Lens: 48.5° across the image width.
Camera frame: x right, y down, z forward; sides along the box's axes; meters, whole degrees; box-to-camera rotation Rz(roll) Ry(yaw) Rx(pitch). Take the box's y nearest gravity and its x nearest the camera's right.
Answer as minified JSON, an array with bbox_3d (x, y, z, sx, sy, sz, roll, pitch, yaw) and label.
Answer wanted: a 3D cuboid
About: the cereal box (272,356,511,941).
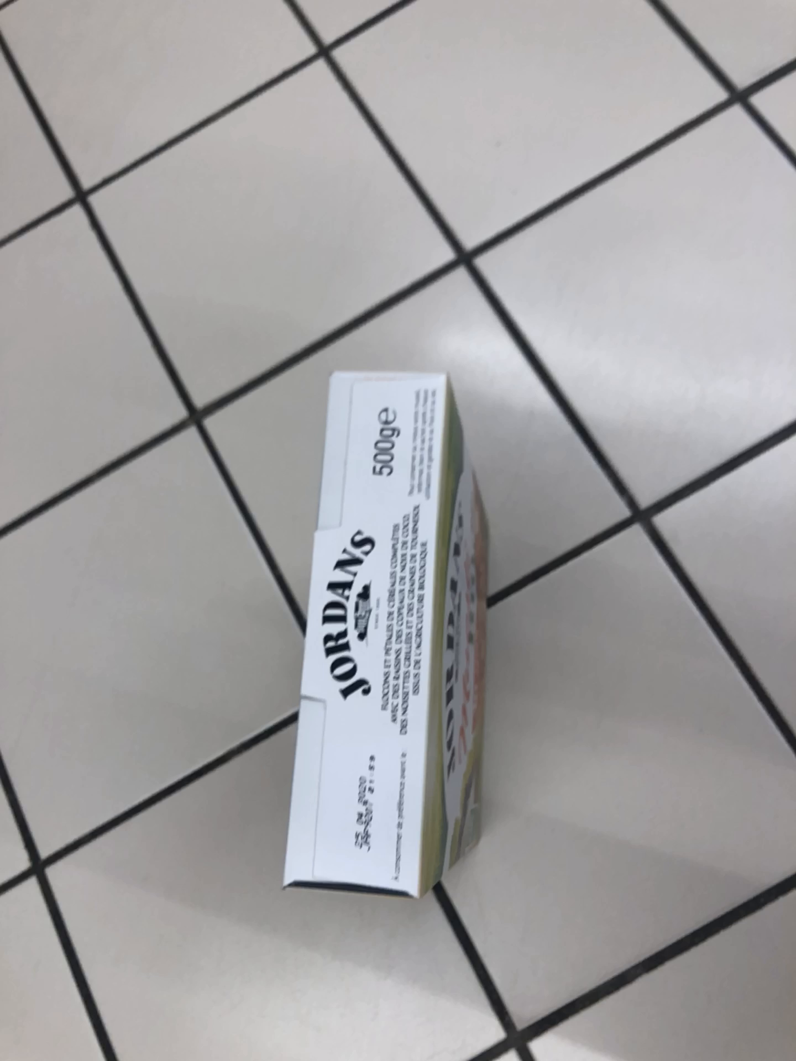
[{"bbox_3d":[0.013,0.057,0.393,0.060,0.210,0.190,0,75,10],"label":"cereal box"}]
